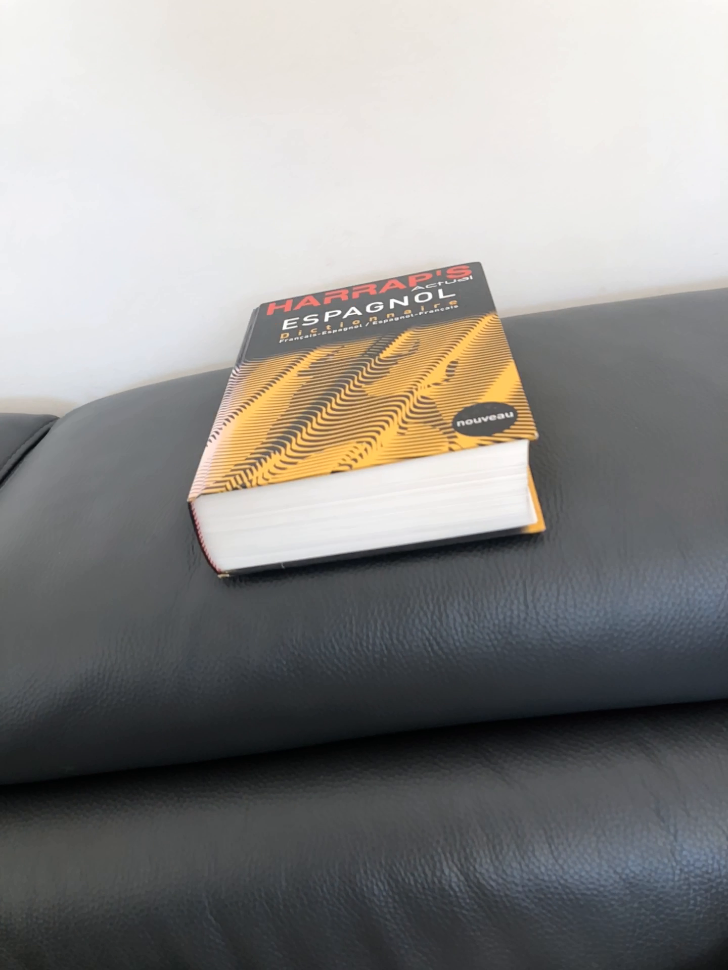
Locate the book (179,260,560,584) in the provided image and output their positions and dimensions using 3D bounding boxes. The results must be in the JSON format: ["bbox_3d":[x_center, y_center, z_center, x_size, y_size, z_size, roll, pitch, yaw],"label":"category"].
[{"bbox_3d":[0.007,-0.056,0.508,0.185,0.050,0.261,-10,34,8],"label":"book"}]
